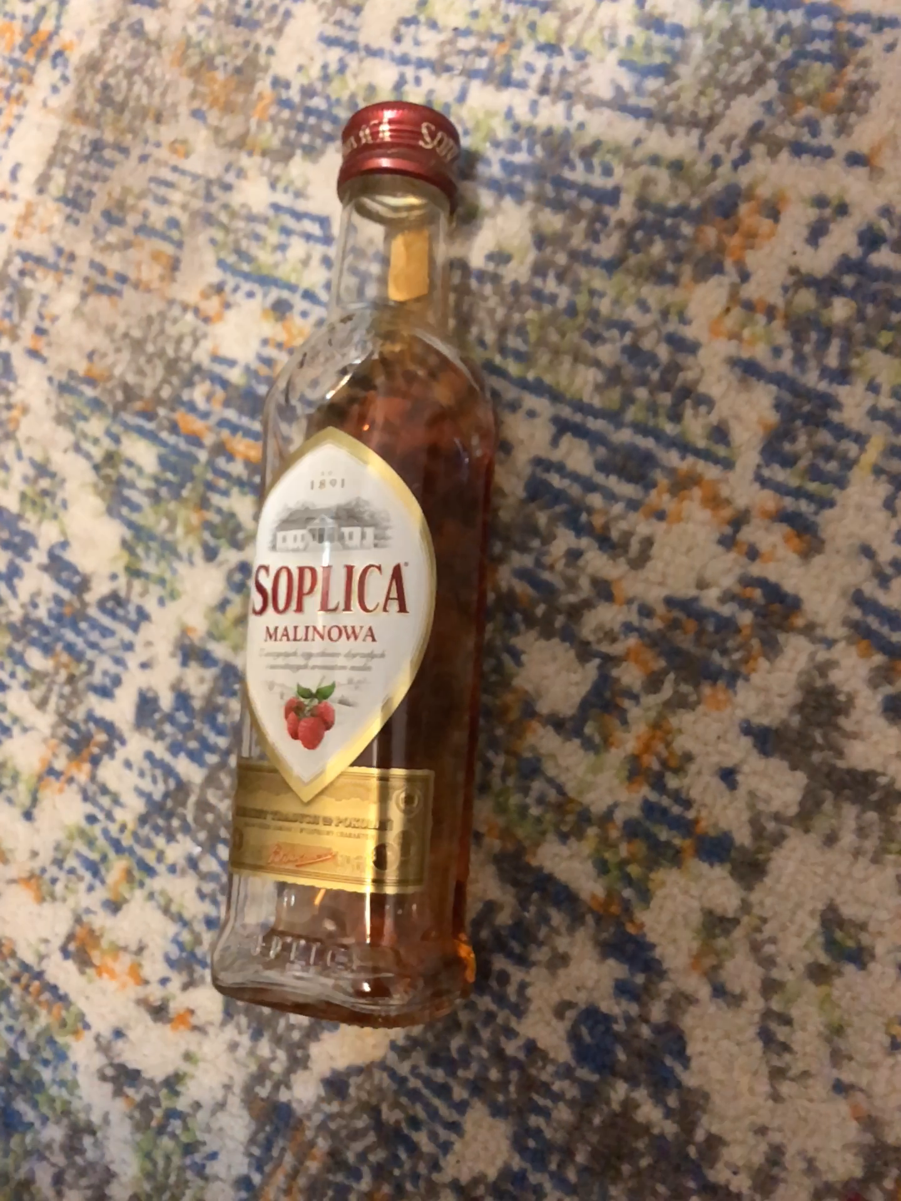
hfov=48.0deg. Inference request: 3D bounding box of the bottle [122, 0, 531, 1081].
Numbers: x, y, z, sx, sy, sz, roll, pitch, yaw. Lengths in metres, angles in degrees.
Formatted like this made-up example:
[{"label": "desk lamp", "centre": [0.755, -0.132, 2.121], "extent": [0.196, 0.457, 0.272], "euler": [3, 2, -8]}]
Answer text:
[{"label": "bottle", "centre": [-0.023, -0.019, 0.218], "extent": [0.060, 0.040, 0.210], "euler": [-1, 81, 26]}]
